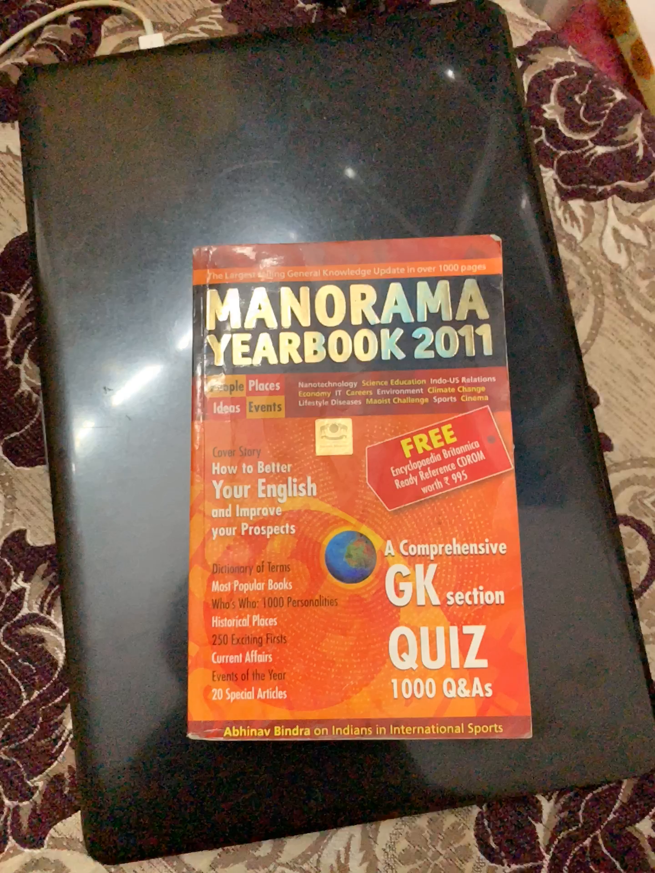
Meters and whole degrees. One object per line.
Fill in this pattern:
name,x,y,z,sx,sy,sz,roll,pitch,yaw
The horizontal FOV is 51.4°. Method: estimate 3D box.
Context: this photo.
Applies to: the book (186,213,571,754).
book,0.017,0.015,0.291,0.140,0.050,0.210,-1,80,-1
